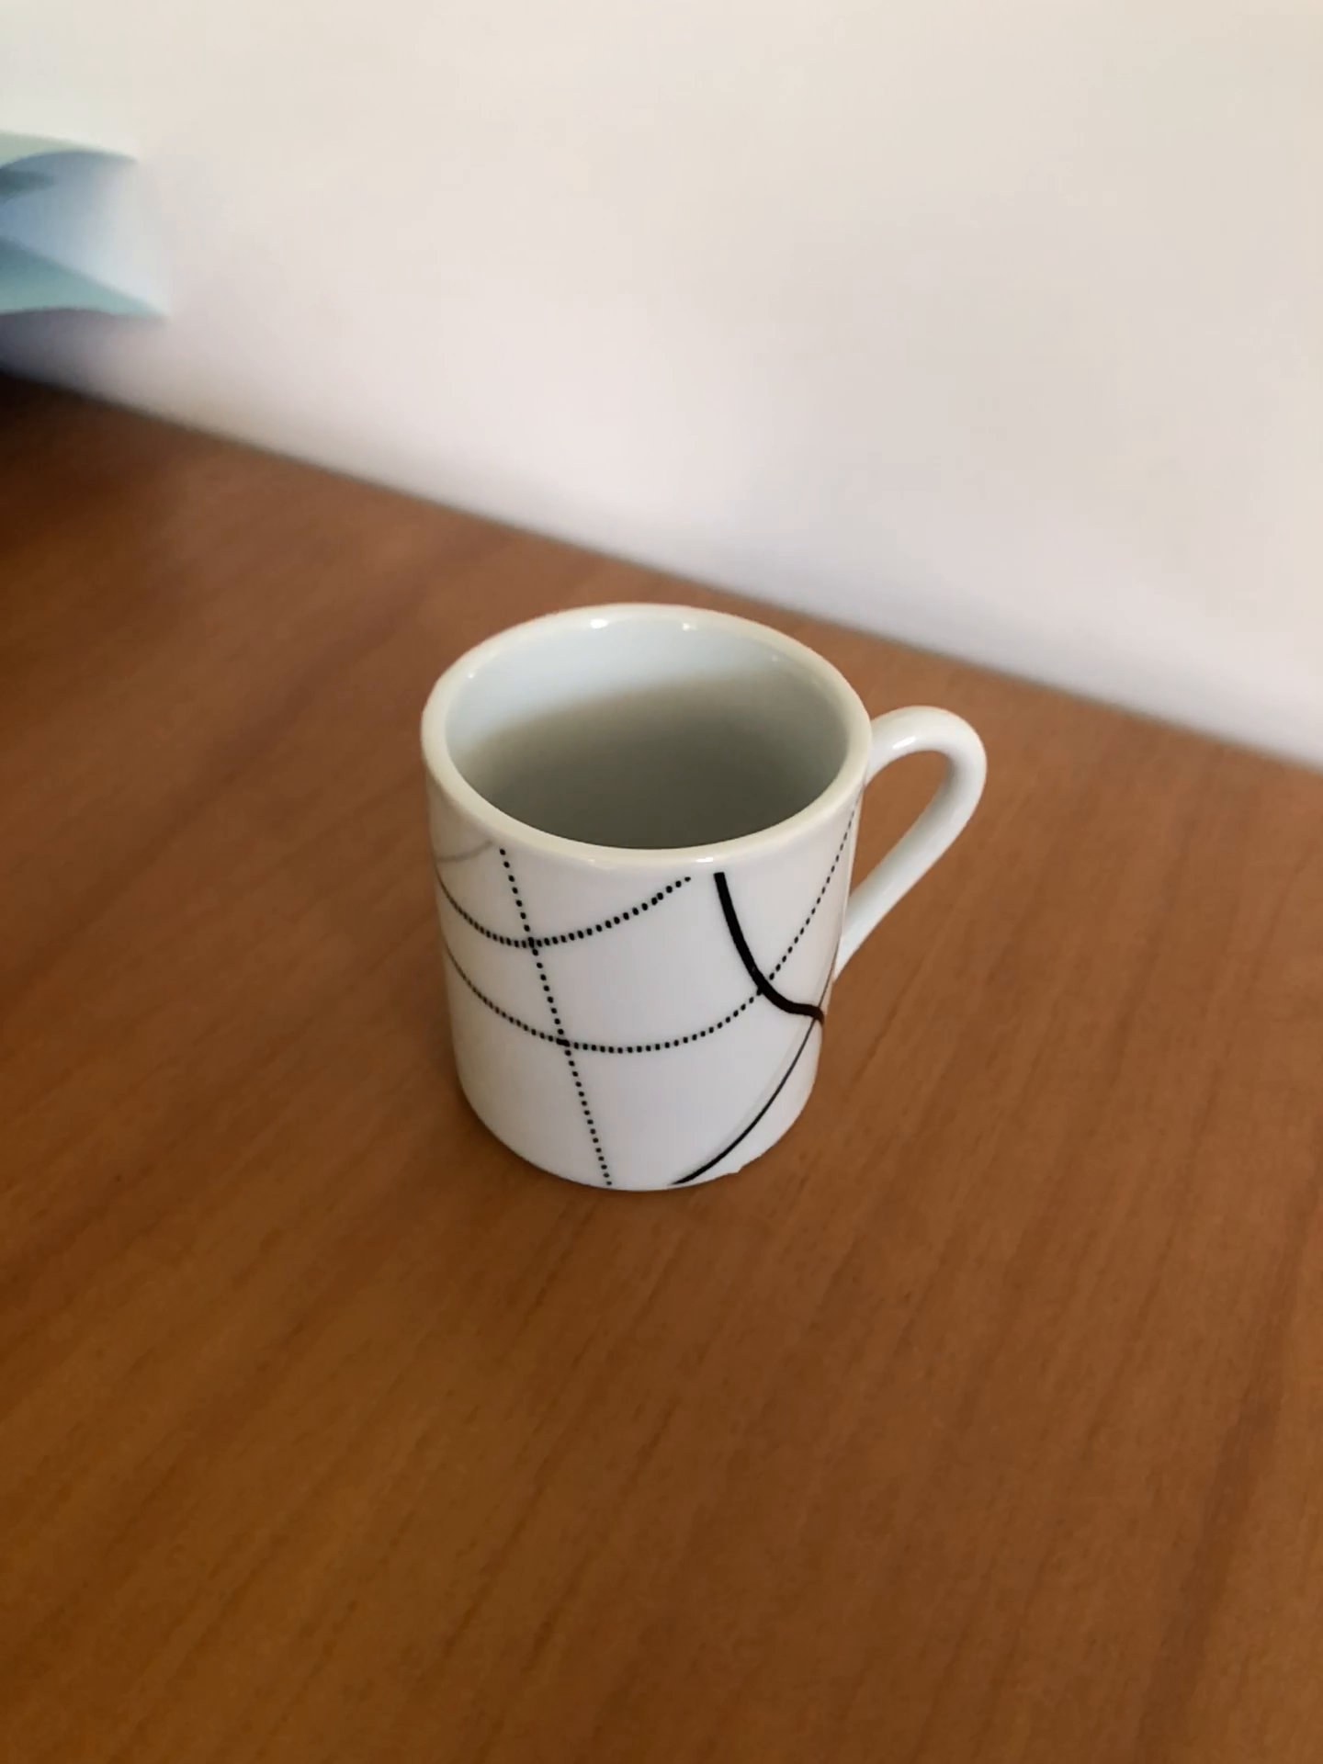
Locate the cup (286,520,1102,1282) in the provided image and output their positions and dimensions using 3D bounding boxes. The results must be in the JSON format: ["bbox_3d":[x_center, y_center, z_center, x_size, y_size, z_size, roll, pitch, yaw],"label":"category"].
[{"bbox_3d":[0.000,-0.002,0.177,0.070,0.050,0.060,-13,42,-19],"label":"cup"}]
